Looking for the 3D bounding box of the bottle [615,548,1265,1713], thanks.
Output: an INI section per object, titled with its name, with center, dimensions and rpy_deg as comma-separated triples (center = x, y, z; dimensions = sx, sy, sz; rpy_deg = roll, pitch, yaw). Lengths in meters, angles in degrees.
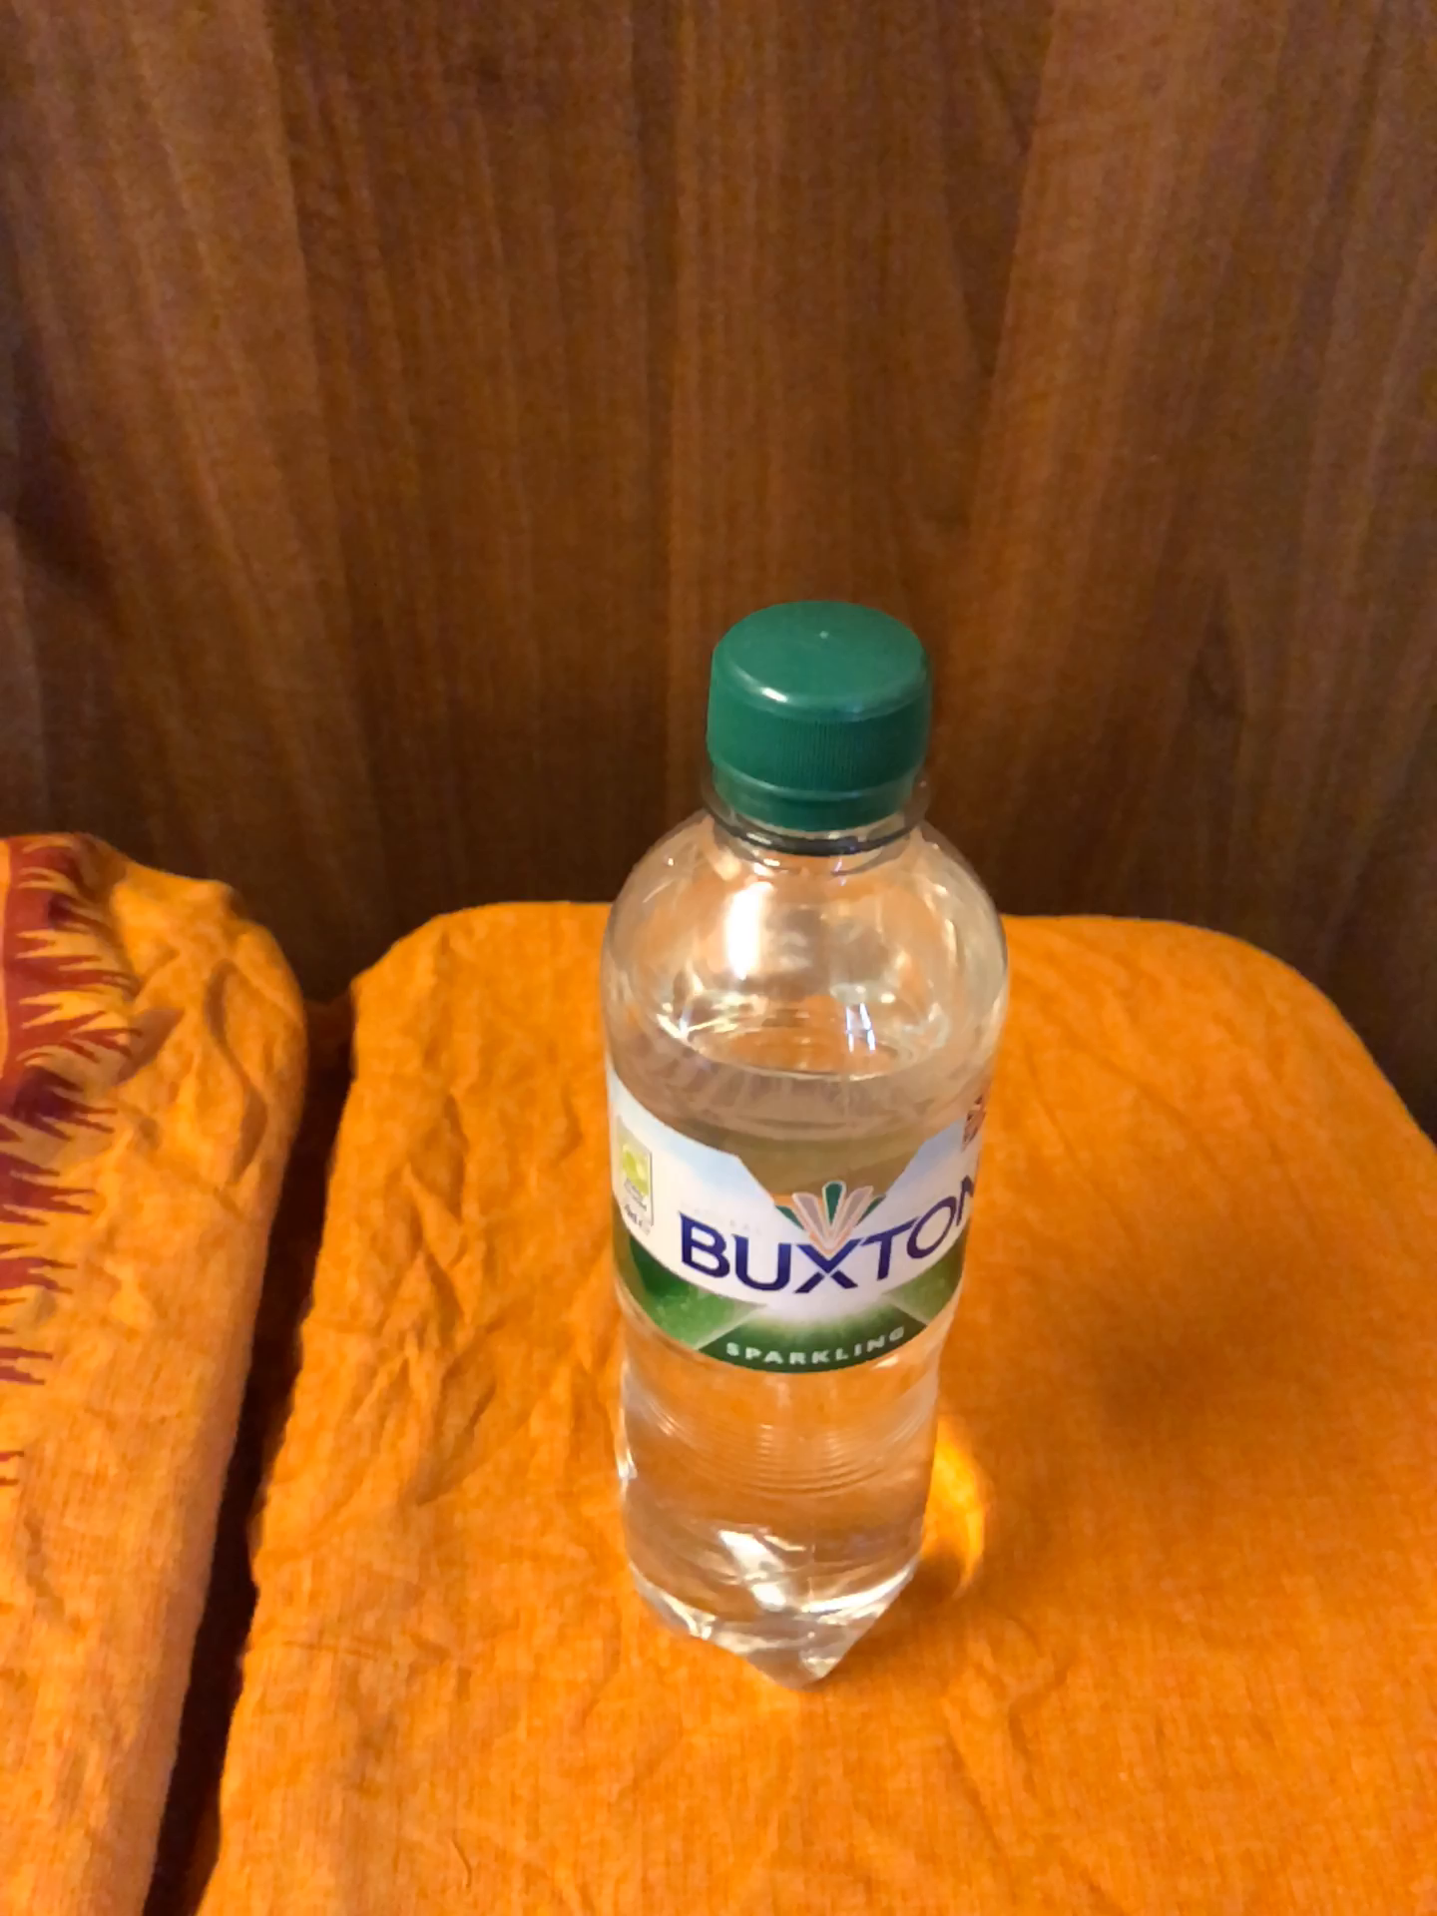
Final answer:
[bottle]
center = 0.019, 0.048, 0.272
dimensions = 0.070, 0.218, 0.071
rpy_deg = 2, 43, -2
